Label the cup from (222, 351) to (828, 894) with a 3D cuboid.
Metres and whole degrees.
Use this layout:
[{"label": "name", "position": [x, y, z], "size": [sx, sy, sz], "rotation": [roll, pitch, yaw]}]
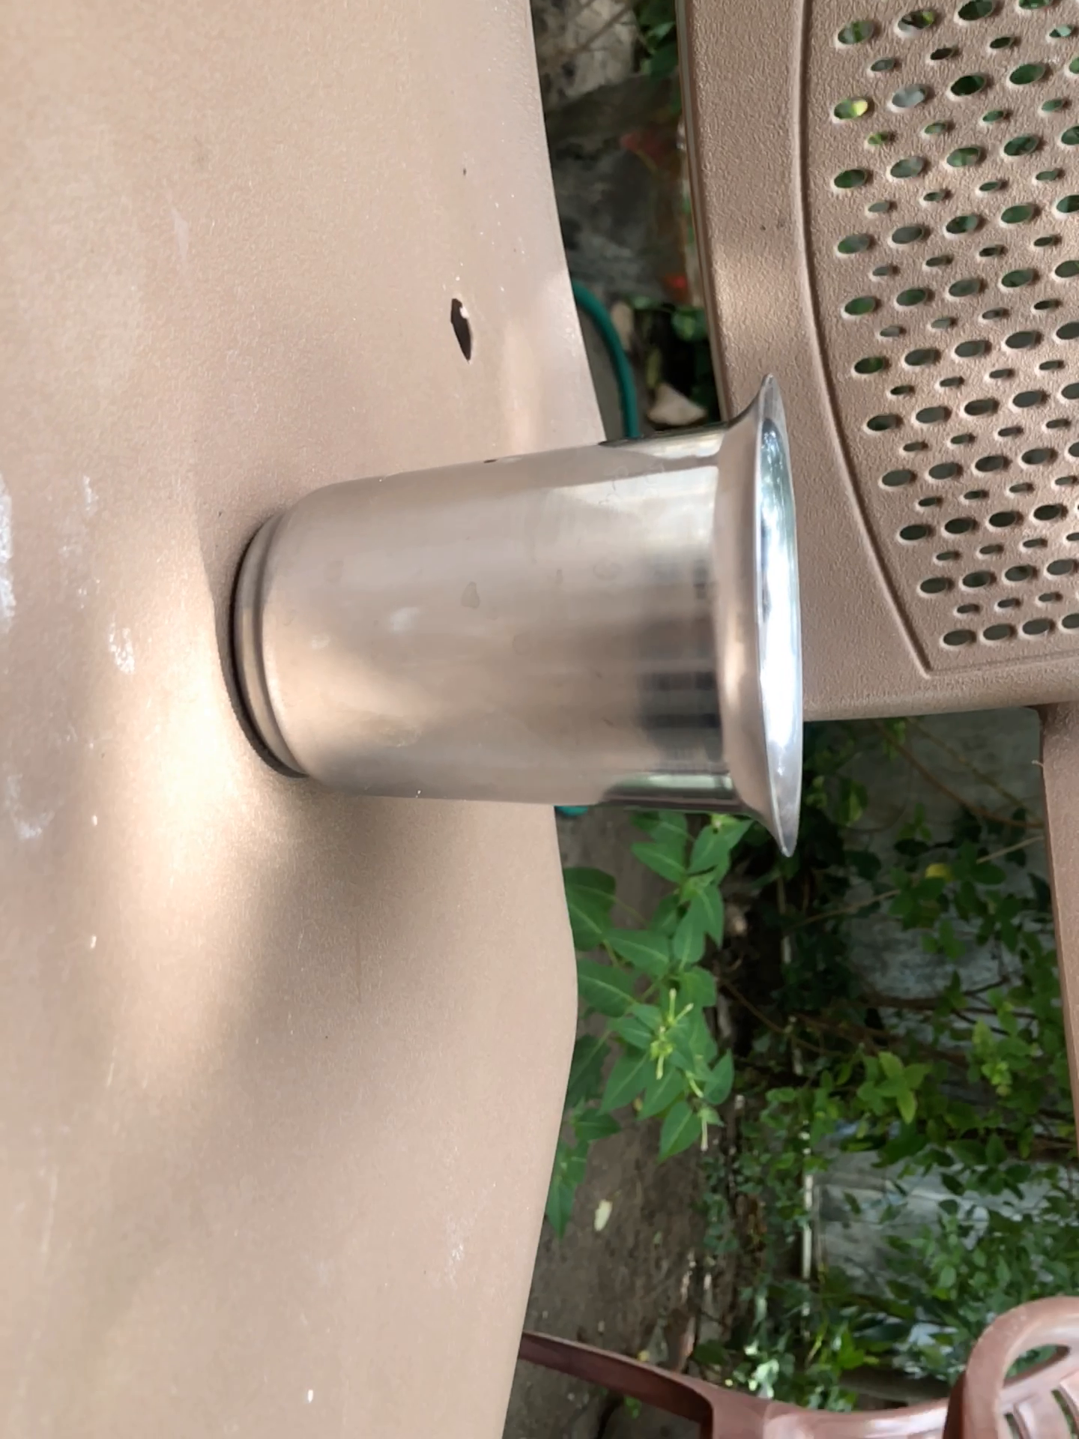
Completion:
[{"label": "cup", "position": [0.005, -0.014, 0.233], "size": [0.091, 0.089, 0.080], "rotation": [7, 84, -72]}]
